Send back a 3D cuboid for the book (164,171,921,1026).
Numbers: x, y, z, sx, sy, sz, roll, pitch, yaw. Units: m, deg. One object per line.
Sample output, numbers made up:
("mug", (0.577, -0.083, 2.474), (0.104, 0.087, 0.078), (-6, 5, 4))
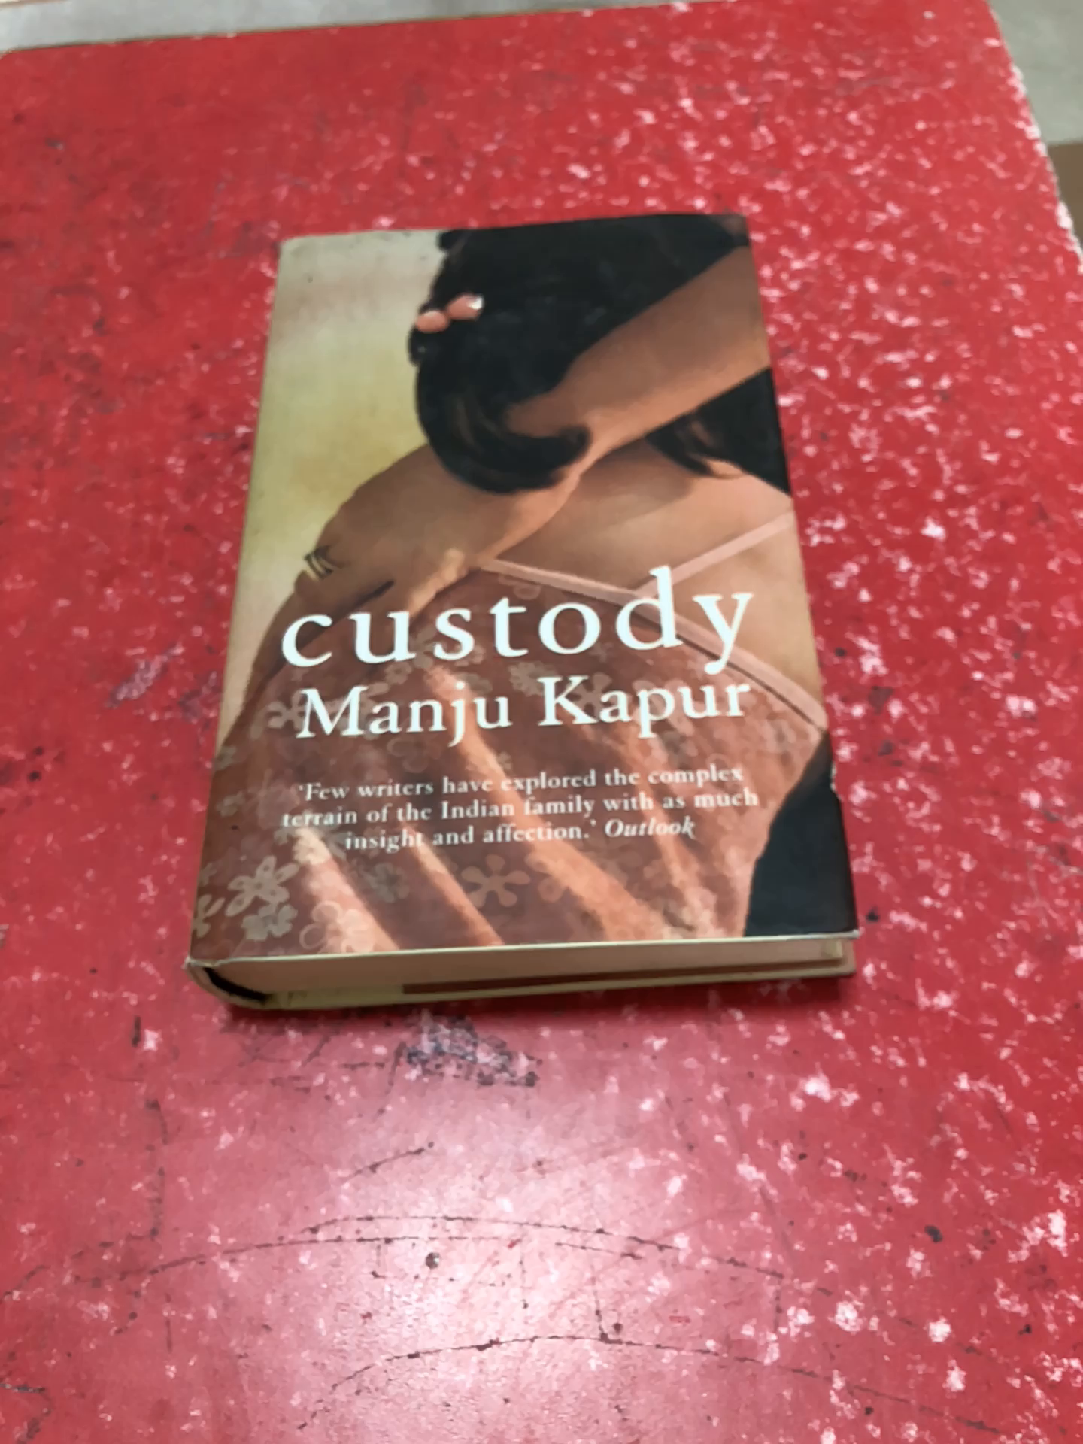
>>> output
("book", (-0.003, -0.043, 0.300), (0.140, 0.040, 0.220), (-3, 59, 2))
